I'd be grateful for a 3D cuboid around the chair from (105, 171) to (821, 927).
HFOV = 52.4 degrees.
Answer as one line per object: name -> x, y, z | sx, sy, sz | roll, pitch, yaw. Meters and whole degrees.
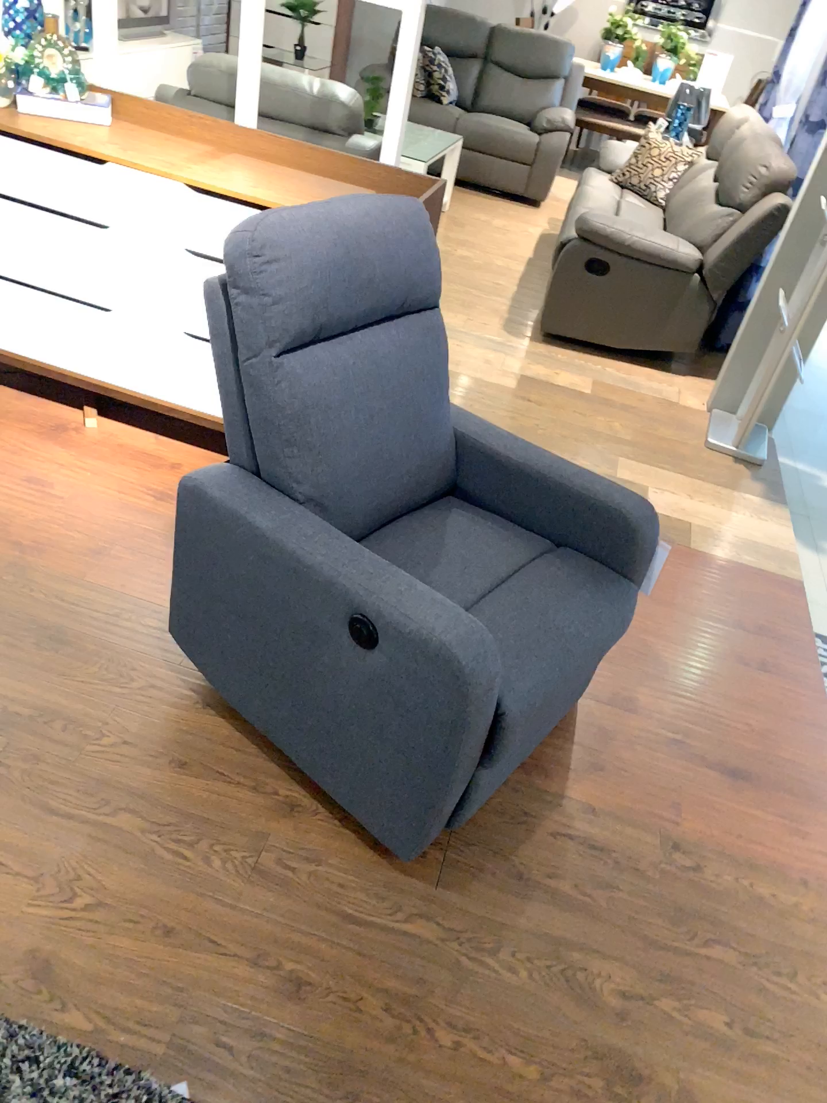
chair -> 0.059, -0.104, 1.721 | 0.881, 0.966, 0.933 | 32, 40, 24
